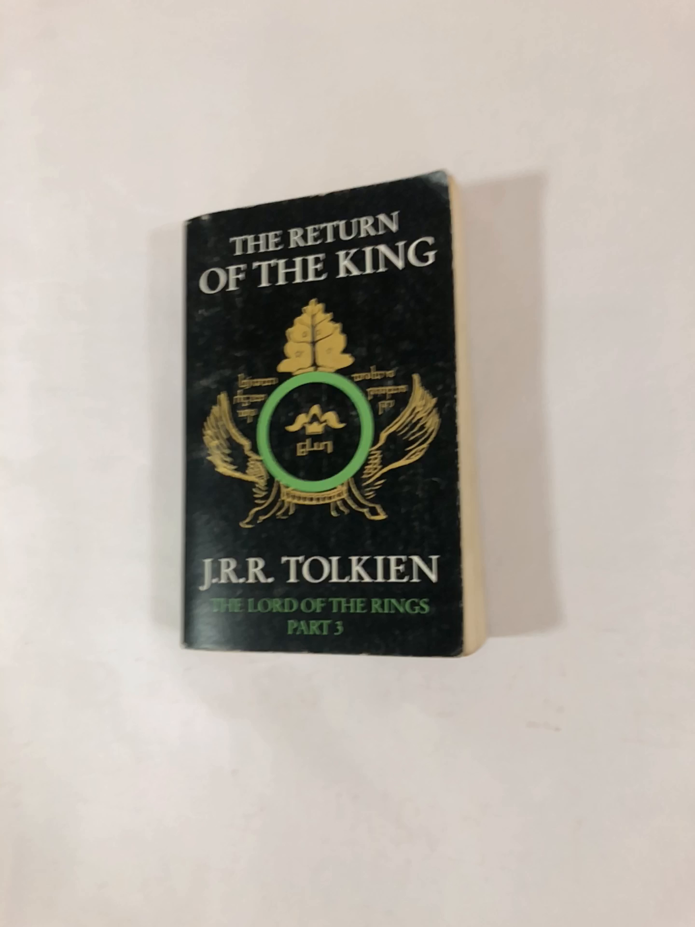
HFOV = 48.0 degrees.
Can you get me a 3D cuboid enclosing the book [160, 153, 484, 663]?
[{"bbox_3d":[-0.013,-0.019,0.340,0.130,0.040,0.200,-3,82,19],"label":"book"}]
